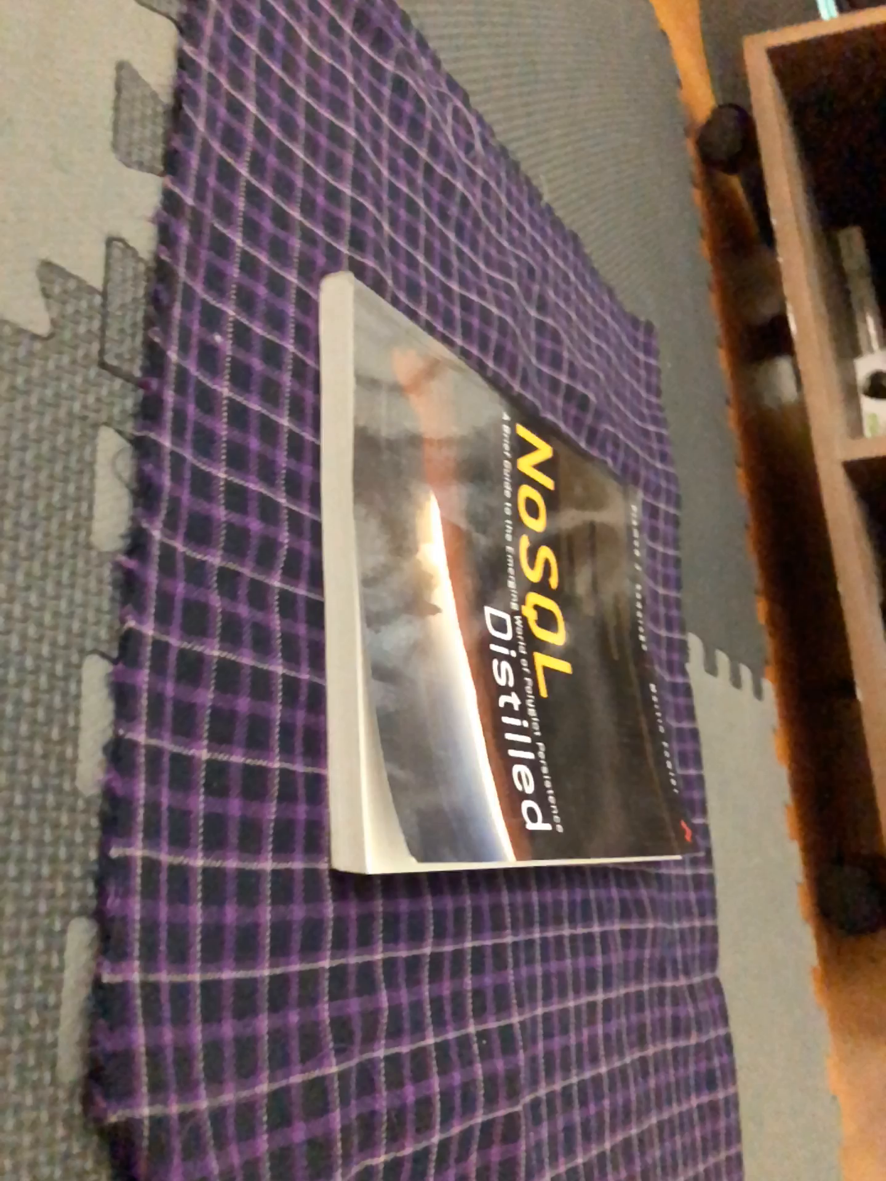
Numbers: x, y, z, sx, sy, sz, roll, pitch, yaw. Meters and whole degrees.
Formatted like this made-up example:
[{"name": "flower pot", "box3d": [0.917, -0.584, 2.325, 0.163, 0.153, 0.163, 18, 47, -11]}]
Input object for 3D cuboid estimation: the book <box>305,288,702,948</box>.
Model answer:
[{"name": "book", "box3d": [0.038, 0.026, 0.381, 0.251, 0.020, 0.190, 21, 60, -55]}]
